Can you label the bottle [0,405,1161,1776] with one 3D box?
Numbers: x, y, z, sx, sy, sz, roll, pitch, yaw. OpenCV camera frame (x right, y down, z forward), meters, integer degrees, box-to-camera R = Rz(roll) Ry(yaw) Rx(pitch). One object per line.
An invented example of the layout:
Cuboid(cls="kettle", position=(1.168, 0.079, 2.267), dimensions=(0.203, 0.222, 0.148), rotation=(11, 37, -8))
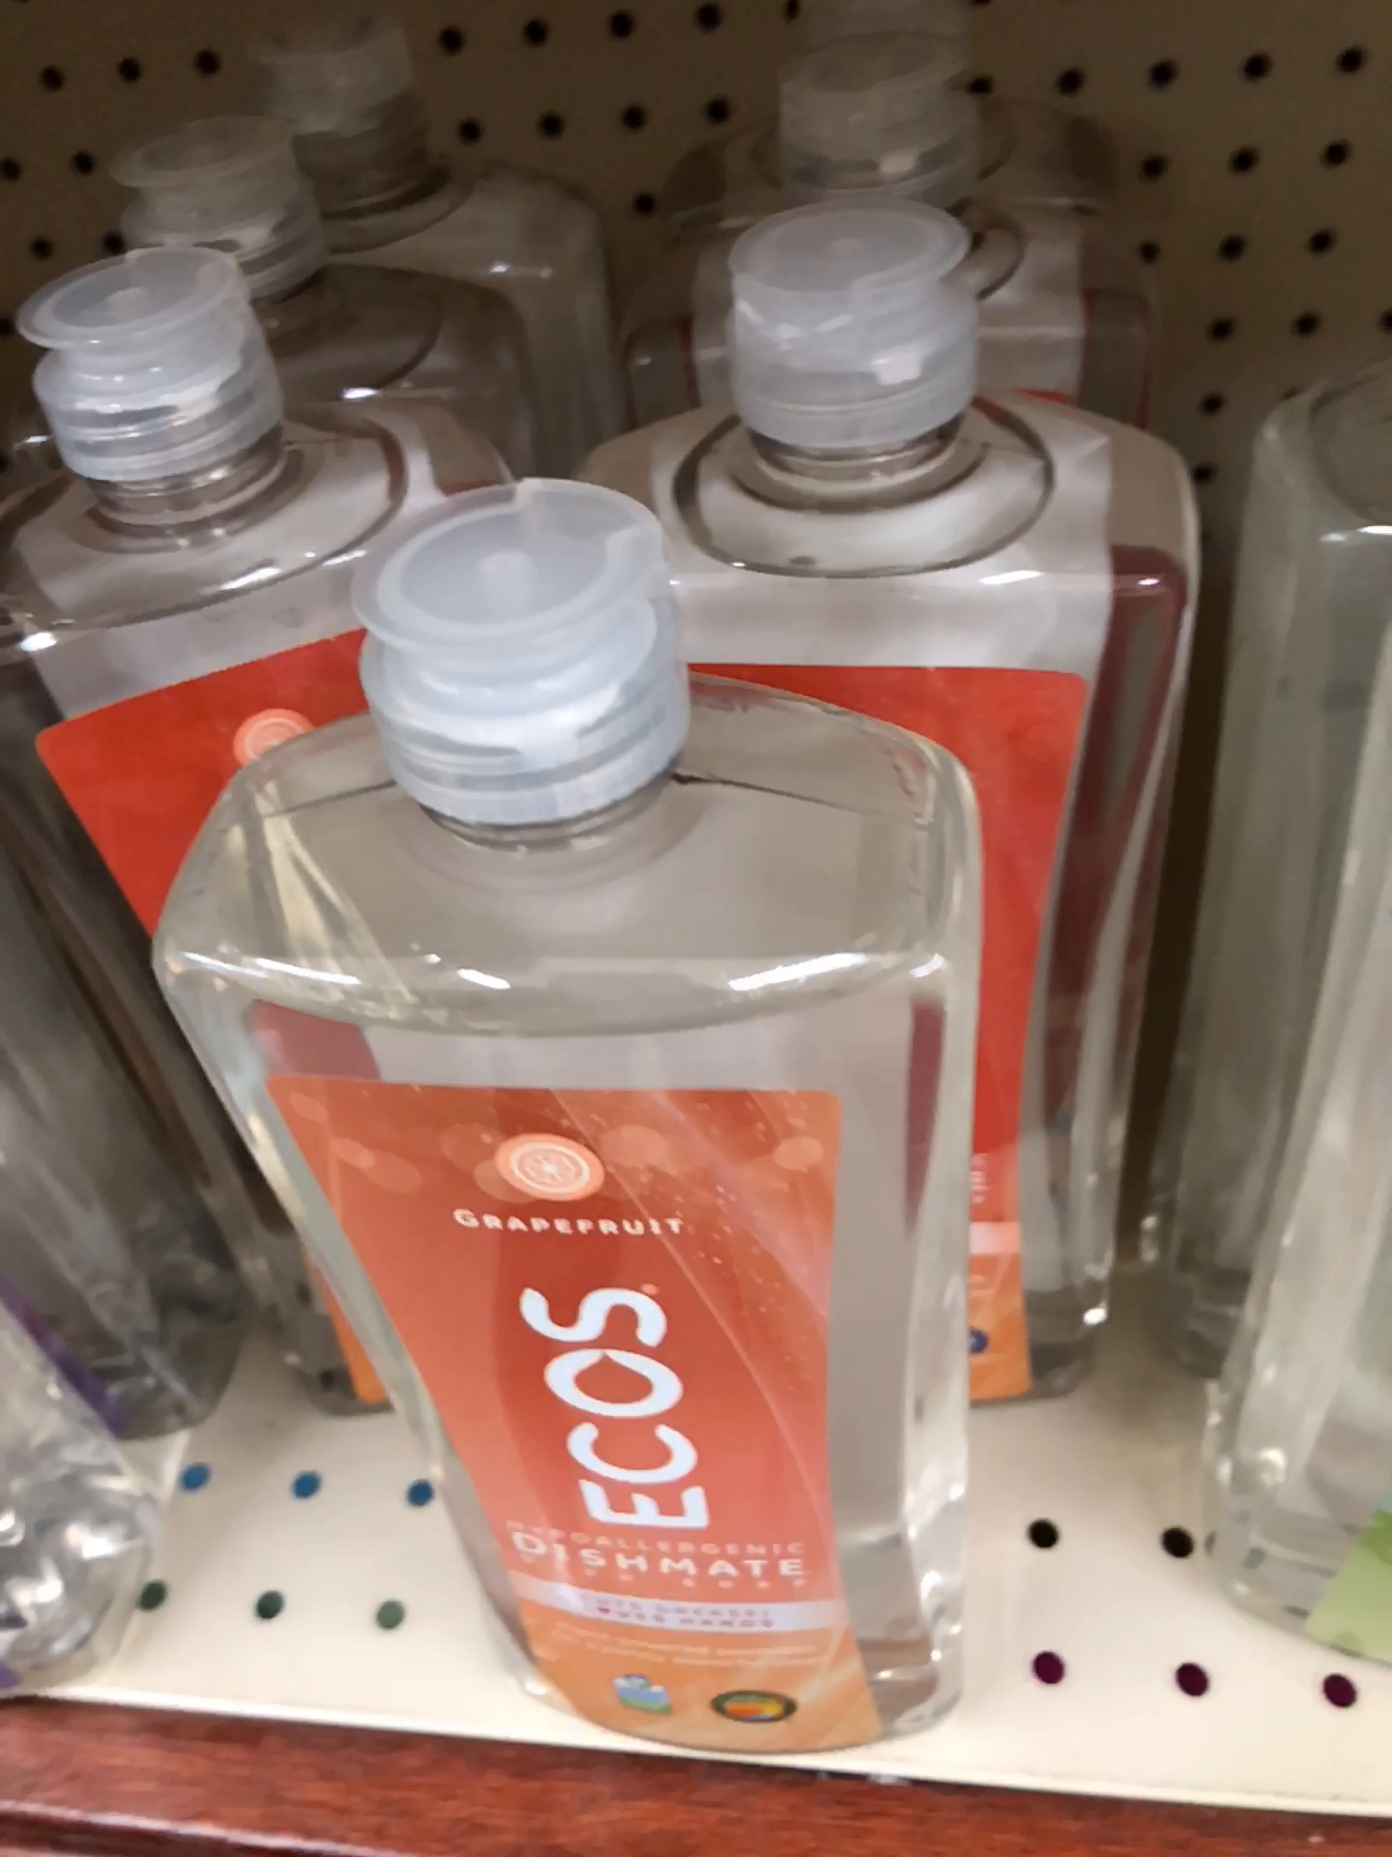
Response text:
Cuboid(cls="bottle", position=(0.001, 0.047, 0.209), dimensions=(0.092, 0.220, 0.050), rotation=(0, 46, 9))
